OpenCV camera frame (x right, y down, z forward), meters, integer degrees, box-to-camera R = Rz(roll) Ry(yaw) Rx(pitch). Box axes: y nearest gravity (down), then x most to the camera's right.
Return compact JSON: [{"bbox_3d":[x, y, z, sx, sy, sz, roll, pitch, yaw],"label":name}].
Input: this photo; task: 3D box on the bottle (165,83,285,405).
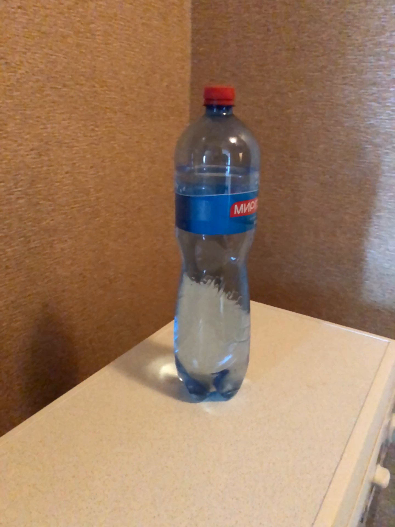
[{"bbox_3d":[0.019,-0.016,0.462,0.100,0.318,0.101,1,19,0],"label":"bottle"}]
